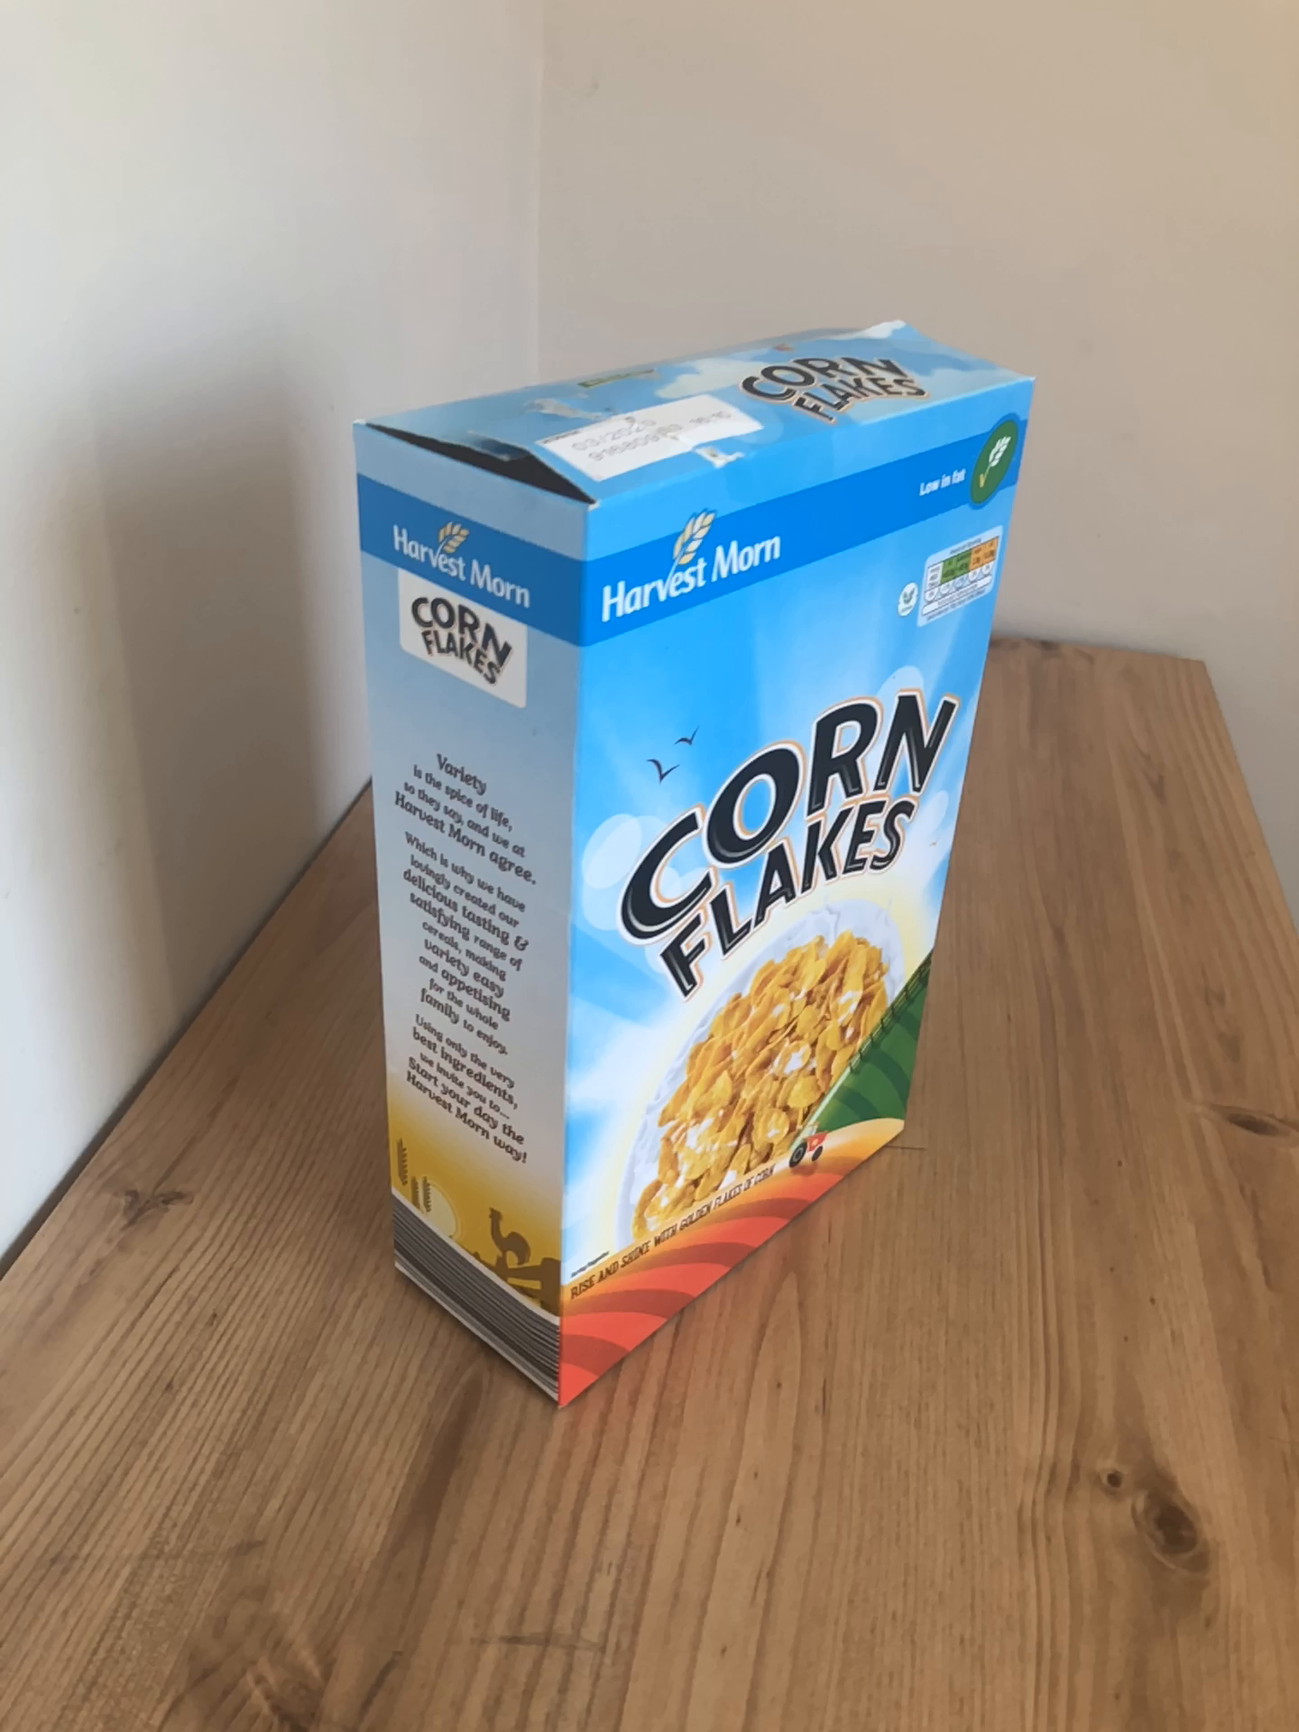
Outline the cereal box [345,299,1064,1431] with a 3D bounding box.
[{"bbox_3d":[0.017,-0.003,0.465,0.080,0.308,0.201,28,39,34],"label":"cereal box"}]
